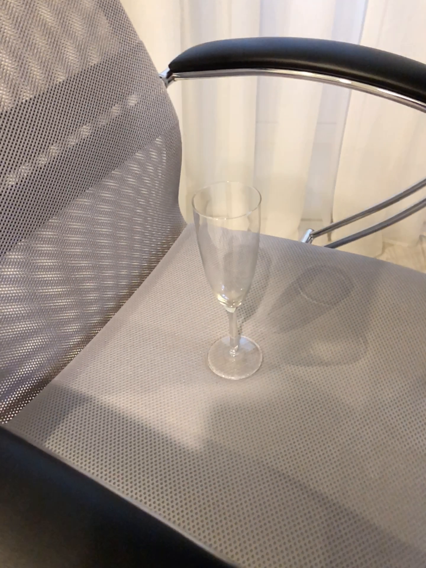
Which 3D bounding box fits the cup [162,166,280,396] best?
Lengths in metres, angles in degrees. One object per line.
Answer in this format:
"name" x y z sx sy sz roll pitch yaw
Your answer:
"cup" 0.014 0.006 0.484 0.075 0.228 0.075 -2 42 2
